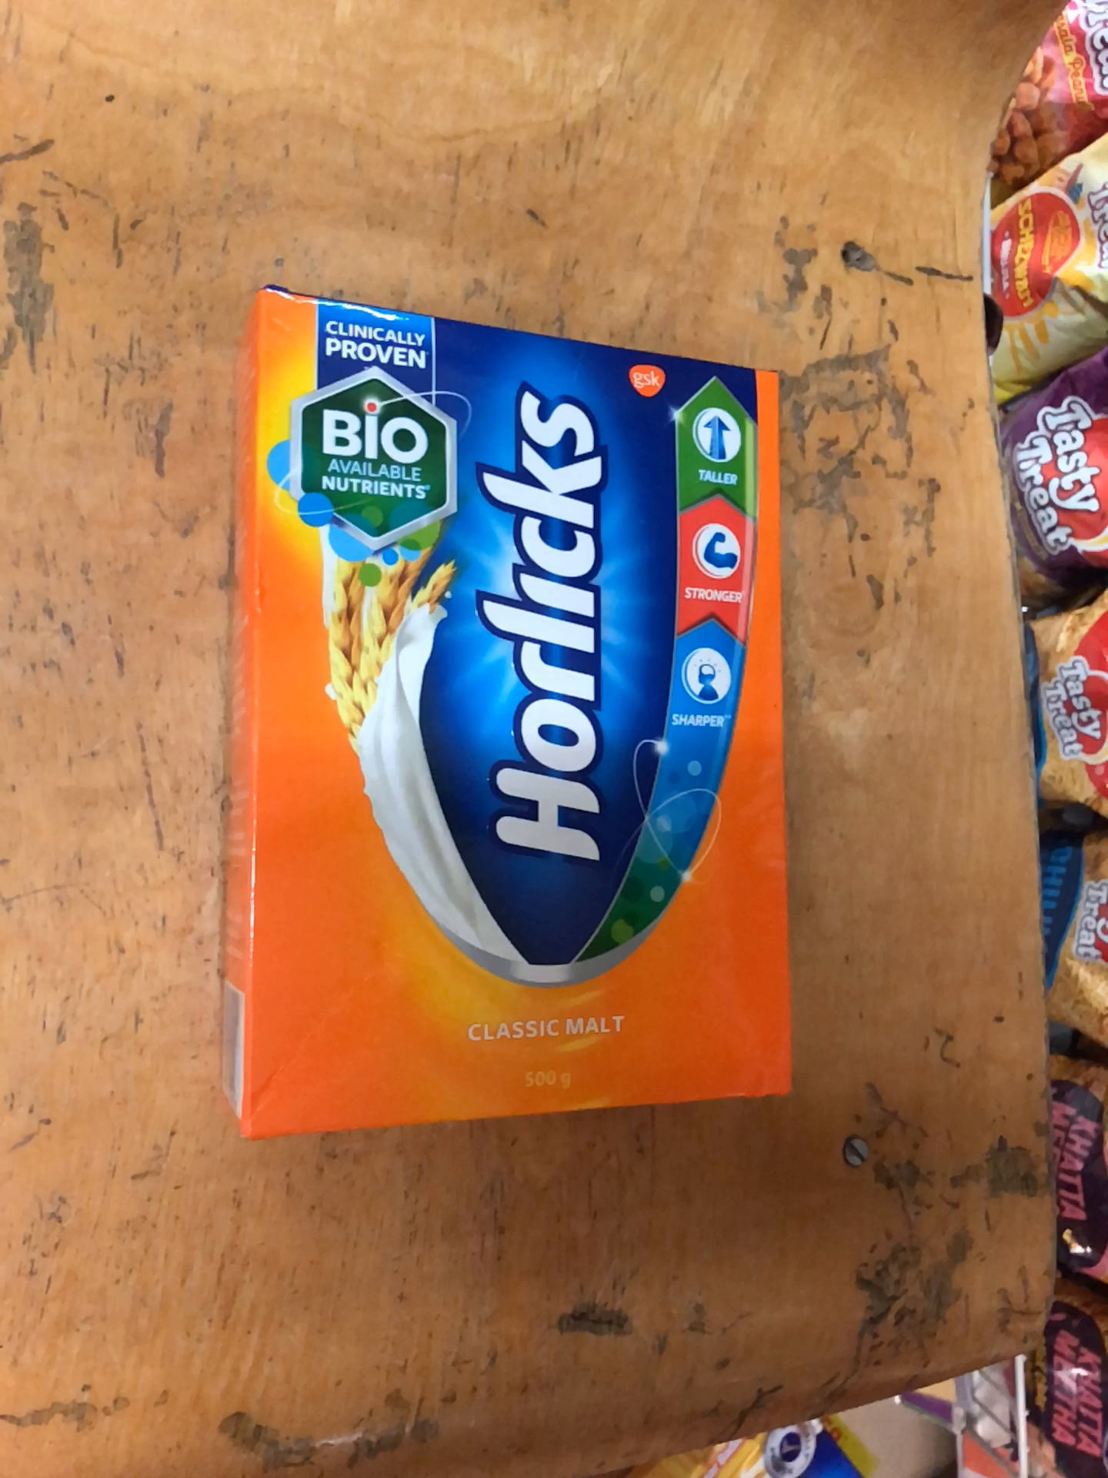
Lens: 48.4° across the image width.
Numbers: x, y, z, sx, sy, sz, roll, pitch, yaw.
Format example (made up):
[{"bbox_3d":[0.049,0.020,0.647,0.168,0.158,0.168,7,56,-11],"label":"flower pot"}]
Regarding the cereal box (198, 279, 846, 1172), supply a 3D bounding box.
[{"bbox_3d":[-0.010,0.000,0.311,0.140,0.080,0.180,2,87,-22],"label":"cereal box"}]
